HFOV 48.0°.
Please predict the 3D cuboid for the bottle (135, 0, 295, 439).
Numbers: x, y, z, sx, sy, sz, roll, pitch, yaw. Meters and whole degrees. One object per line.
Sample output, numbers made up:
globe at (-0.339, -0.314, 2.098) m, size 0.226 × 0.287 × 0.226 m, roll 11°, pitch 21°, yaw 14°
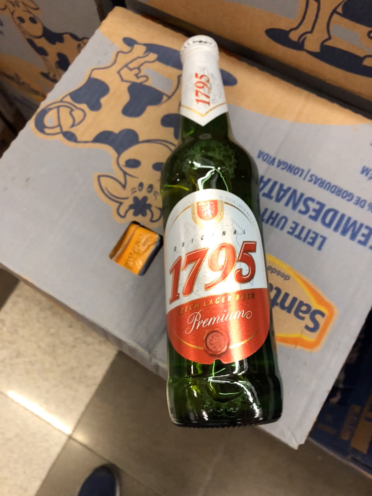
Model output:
bottle at (0.009, -0.033, 0.261) m, size 0.070 × 0.060 × 0.270 m, roll -4°, pitch 71°, yaw 2°
